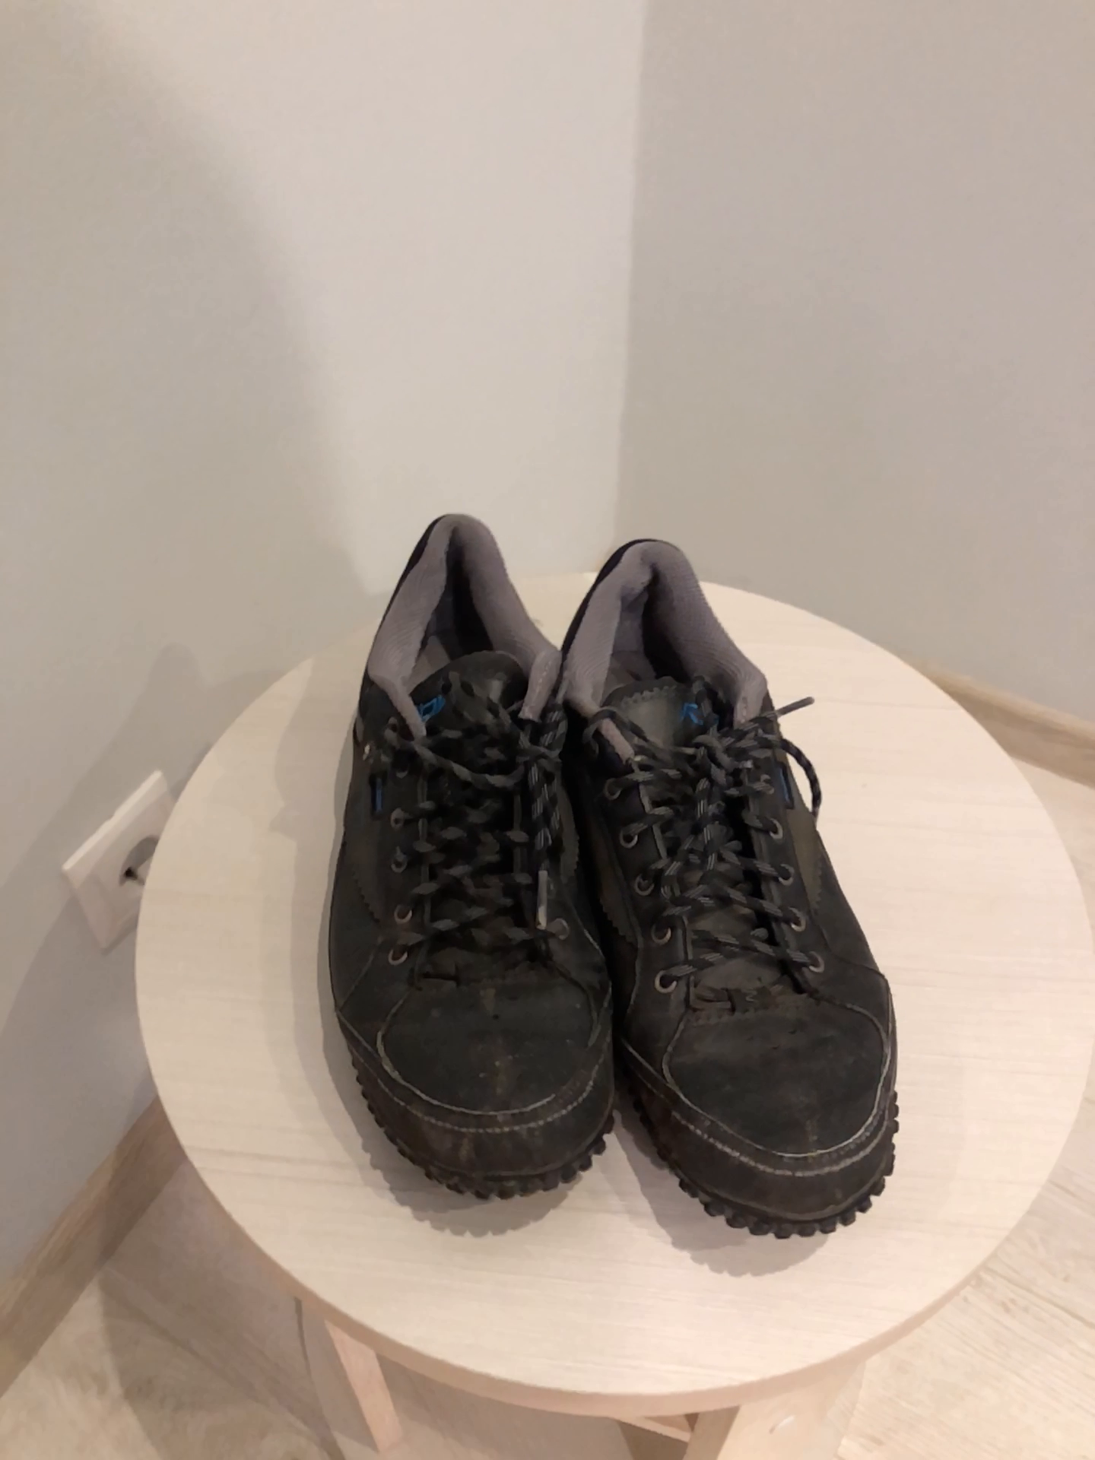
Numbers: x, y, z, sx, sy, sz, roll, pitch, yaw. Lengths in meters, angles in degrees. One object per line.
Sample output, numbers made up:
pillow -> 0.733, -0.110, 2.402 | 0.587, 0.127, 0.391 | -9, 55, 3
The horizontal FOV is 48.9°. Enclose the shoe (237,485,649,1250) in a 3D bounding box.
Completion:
shoe -> -0.039, 0.032, 0.450 | 0.110, 0.099, 0.272 | -4, 47, -3

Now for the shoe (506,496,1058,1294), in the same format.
shoe -> 0.060, 0.040, 0.444 | 0.110, 0.099, 0.272 | -7, 47, -6
